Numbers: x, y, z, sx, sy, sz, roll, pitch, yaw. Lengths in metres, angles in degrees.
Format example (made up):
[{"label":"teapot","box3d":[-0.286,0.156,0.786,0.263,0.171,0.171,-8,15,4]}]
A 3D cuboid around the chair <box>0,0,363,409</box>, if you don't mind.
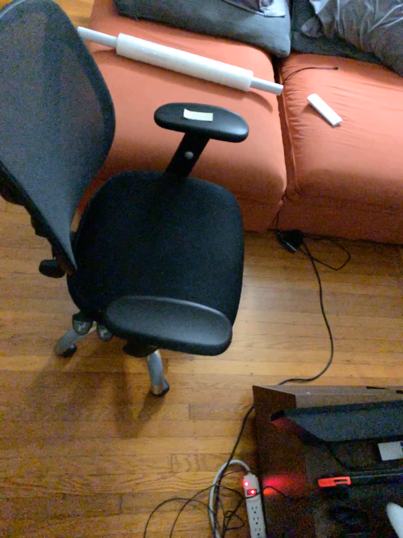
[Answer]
[{"label":"chair","box3d":[-0.154,-0.123,1.060,0.660,0.977,0.642,10,59,-3]}]
